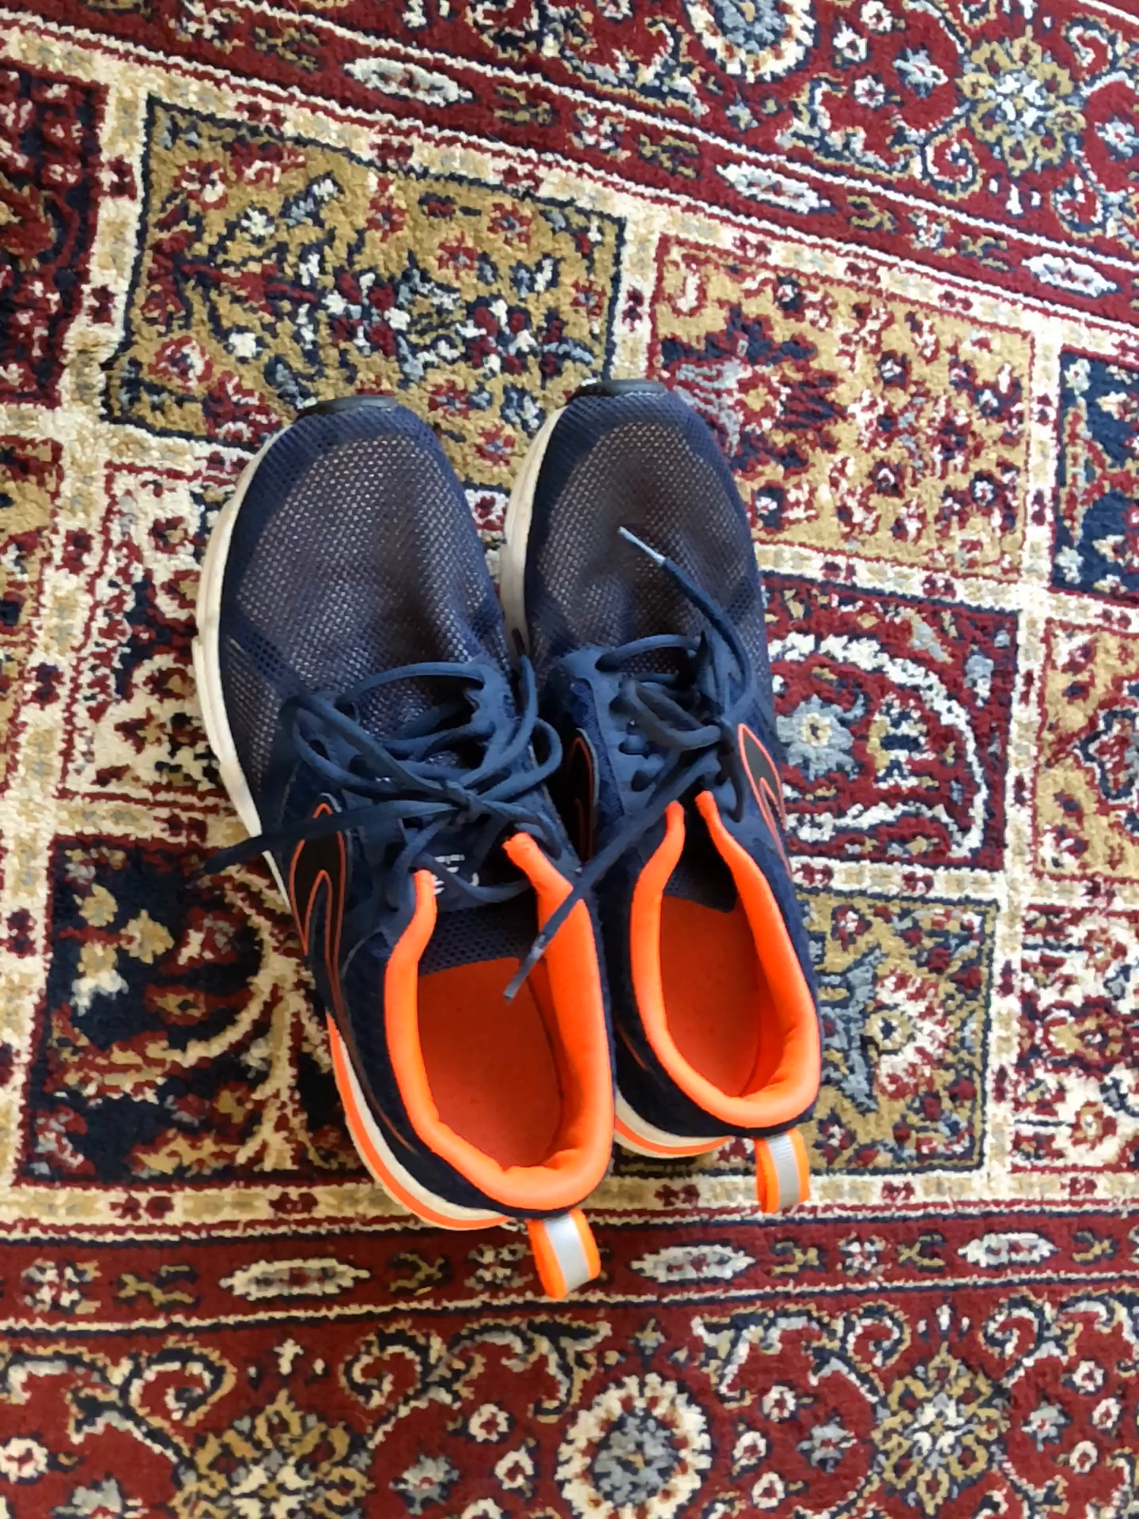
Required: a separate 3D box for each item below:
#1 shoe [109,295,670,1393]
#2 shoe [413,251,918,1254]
[{"bbox_3d":[-0.072,0.022,0.462,0.120,0.130,0.330,-11,91,-18],"label":"shoe"},{"bbox_3d":[0.028,-0.007,0.492,0.120,0.130,0.330,-6,89,-18],"label":"shoe"}]
